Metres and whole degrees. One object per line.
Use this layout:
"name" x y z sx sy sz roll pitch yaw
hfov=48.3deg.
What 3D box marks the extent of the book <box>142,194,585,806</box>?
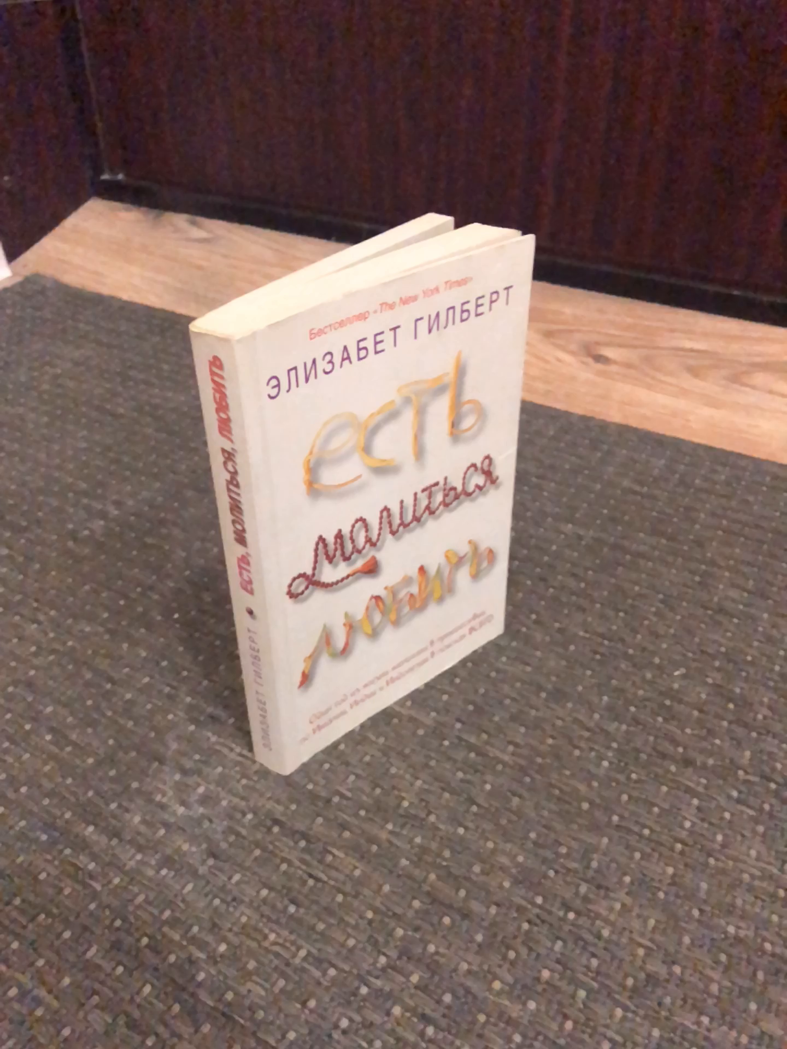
"book" -0.007 -0.012 0.384 0.068 0.213 0.161 31 45 33
